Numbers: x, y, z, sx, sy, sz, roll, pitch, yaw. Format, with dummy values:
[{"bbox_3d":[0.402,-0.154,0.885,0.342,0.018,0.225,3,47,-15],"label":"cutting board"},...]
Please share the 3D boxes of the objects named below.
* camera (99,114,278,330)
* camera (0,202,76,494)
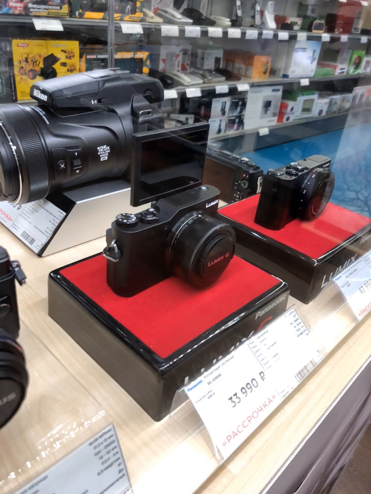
[{"bbox_3d":[0.000,-0.025,0.309,0.070,0.120,0.108,27,36,32],"label":"camera"},{"bbox_3d":[-0.131,0.045,0.203,0.103,0.080,0.108,30,38,35],"label":"camera"}]
